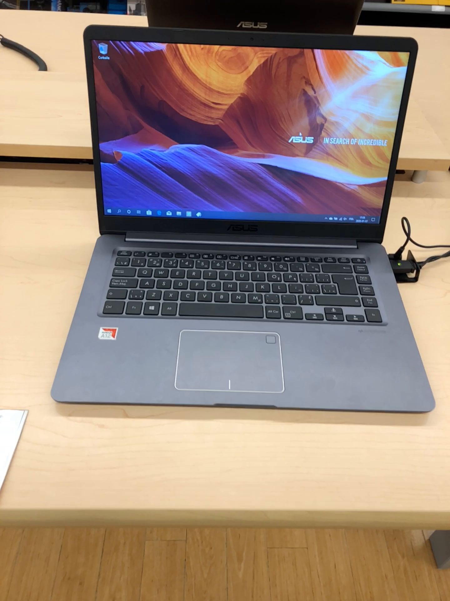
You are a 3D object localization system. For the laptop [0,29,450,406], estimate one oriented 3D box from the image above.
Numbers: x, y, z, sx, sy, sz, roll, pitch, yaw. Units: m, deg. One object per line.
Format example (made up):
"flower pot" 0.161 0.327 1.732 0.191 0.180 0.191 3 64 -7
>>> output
"laptop" 0.023 -0.096 0.508 0.361 0.223 0.319 2 46 -1
